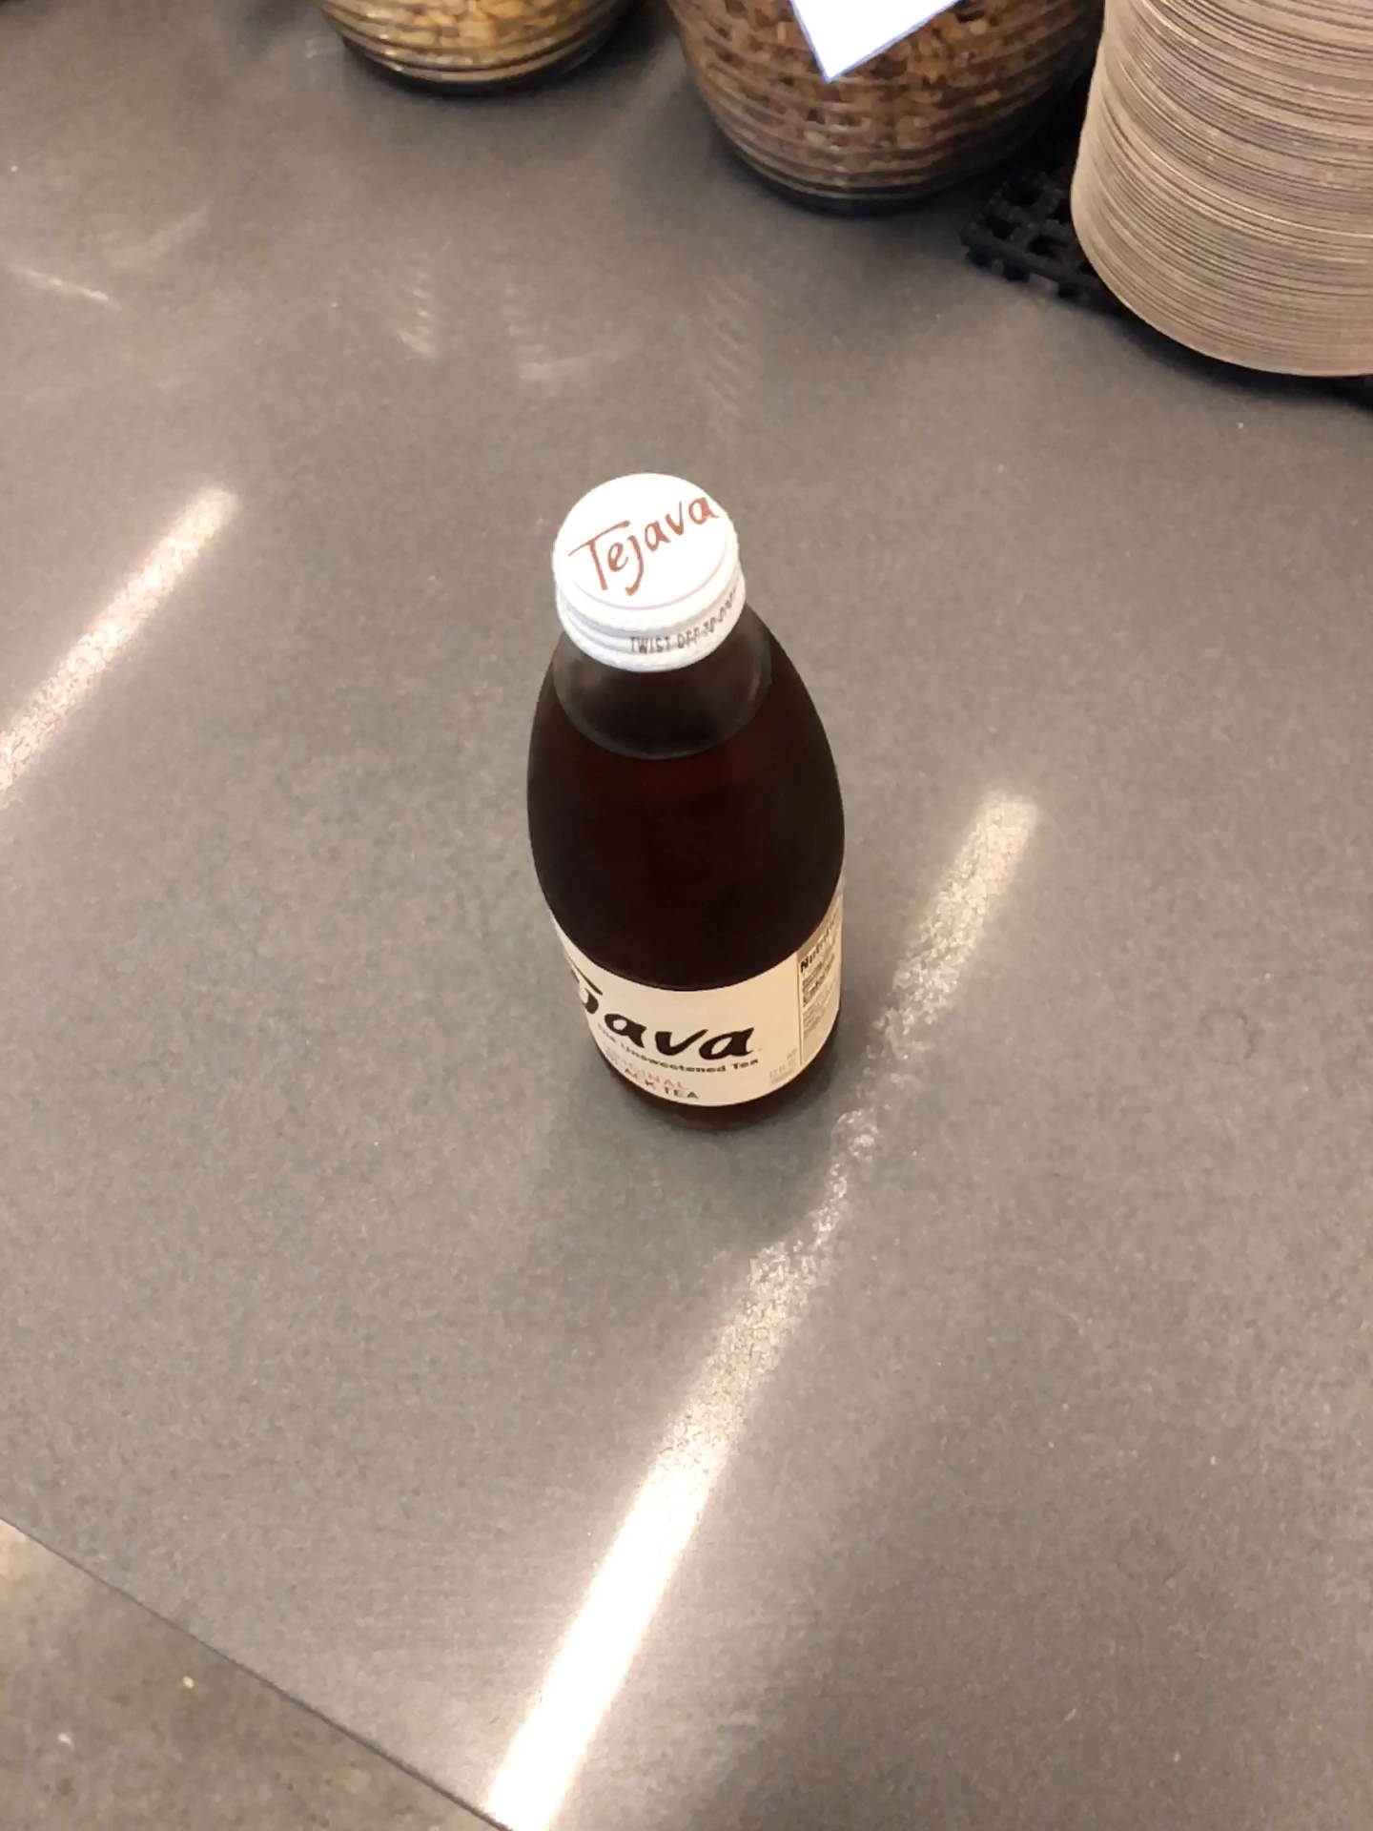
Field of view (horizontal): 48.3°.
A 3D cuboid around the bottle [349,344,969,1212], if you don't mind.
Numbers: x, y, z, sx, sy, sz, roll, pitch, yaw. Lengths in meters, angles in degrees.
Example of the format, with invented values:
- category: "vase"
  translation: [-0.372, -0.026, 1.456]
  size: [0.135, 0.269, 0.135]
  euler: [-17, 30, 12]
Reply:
- category: "bottle"
  translation: [0.003, -0.011, 0.317]
  size: [0.070, 0.190, 0.070]
  euler: [-2, 63, 4]
